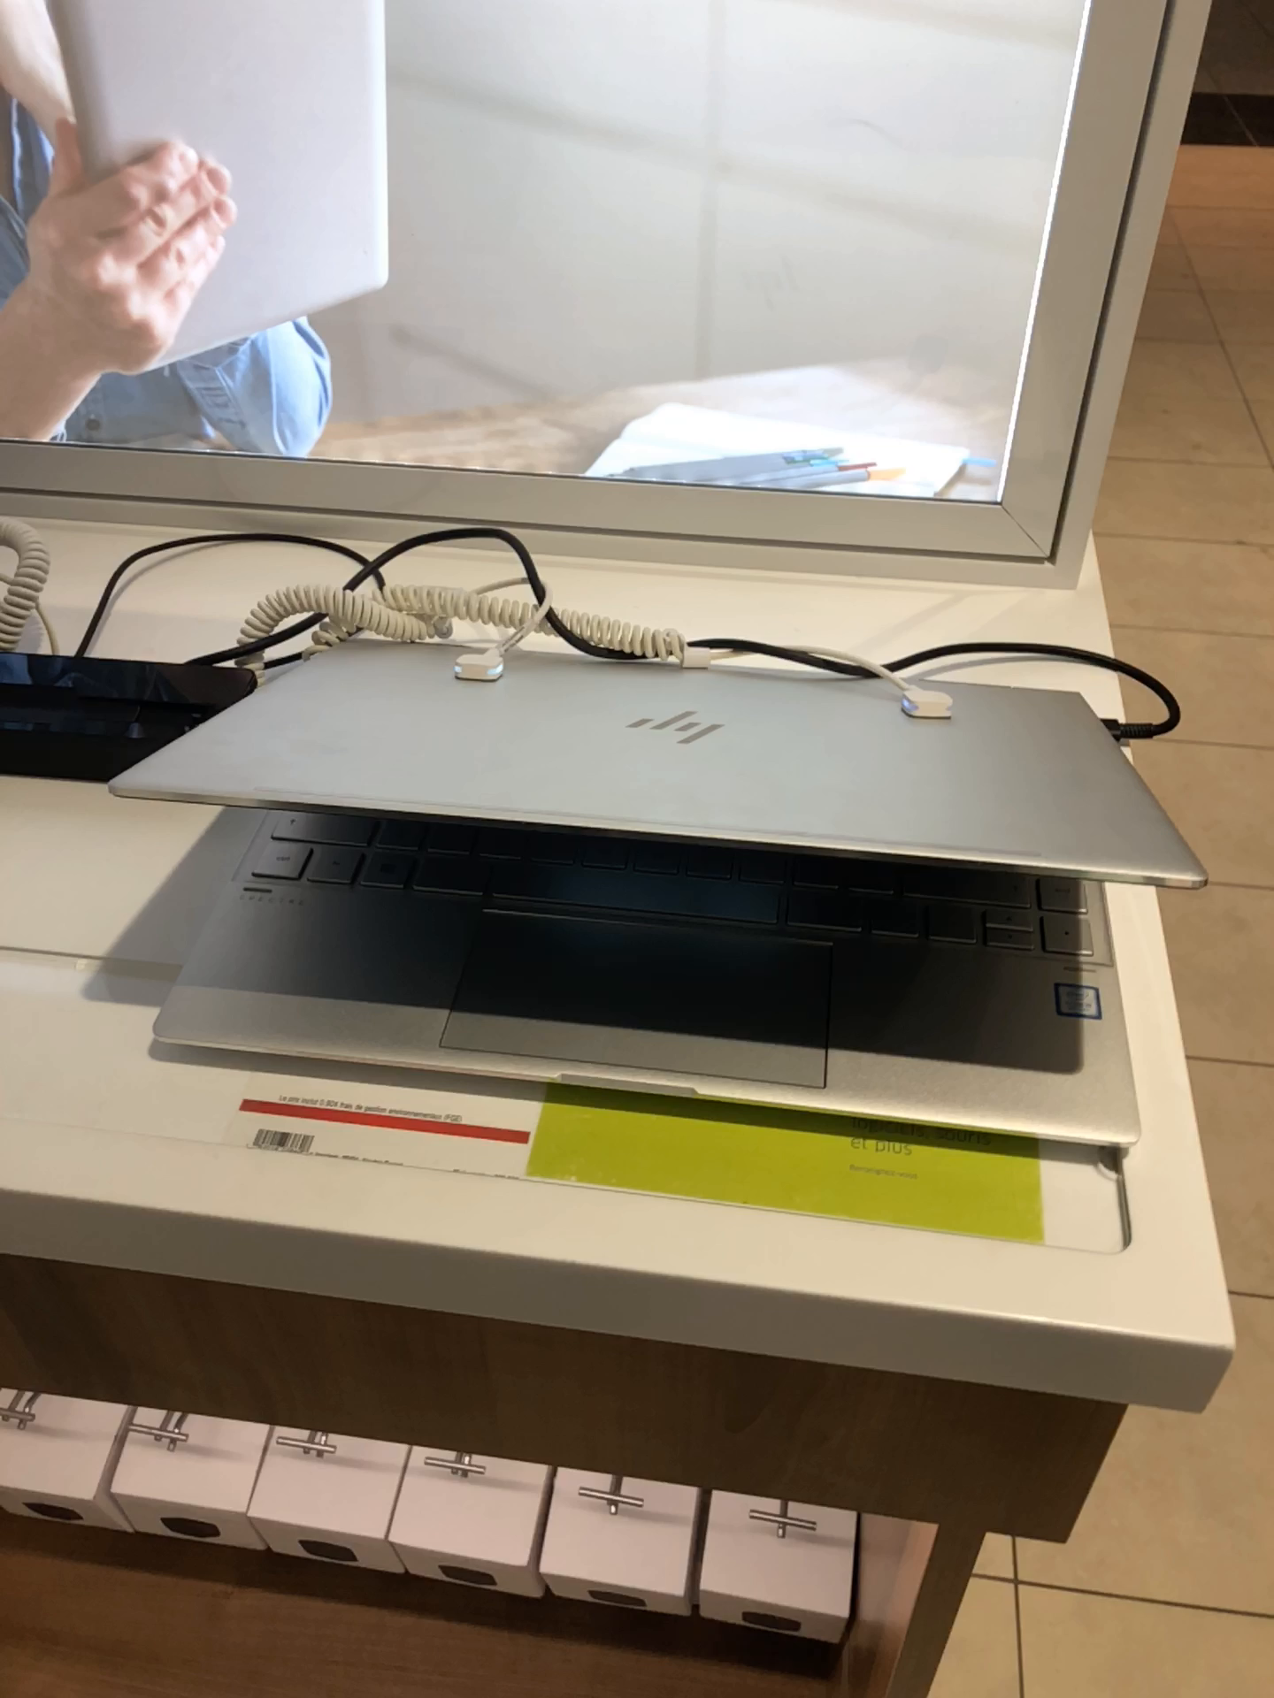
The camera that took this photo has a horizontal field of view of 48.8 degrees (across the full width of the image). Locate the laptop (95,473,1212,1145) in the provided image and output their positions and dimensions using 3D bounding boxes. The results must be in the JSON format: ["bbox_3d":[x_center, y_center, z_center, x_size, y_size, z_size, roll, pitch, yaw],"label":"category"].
[{"bbox_3d":[0.012,-0.030,0.473,0.298,0.078,0.212,5,43,6],"label":"laptop"}]
